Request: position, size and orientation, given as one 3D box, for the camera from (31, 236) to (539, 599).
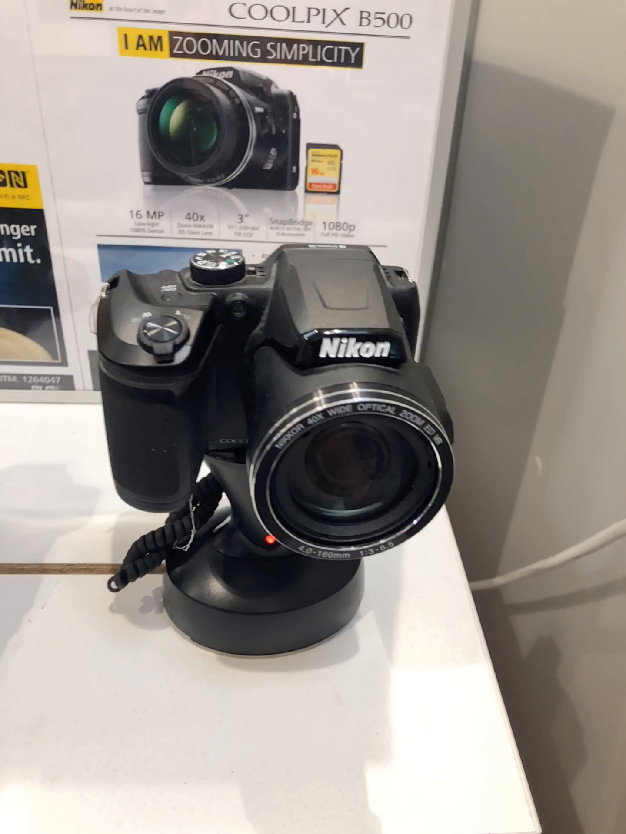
[{"bbox_3d":[-0.011,-0.007,0.224,0.120,0.070,0.101,-1,34,-7],"label":"camera"}]
